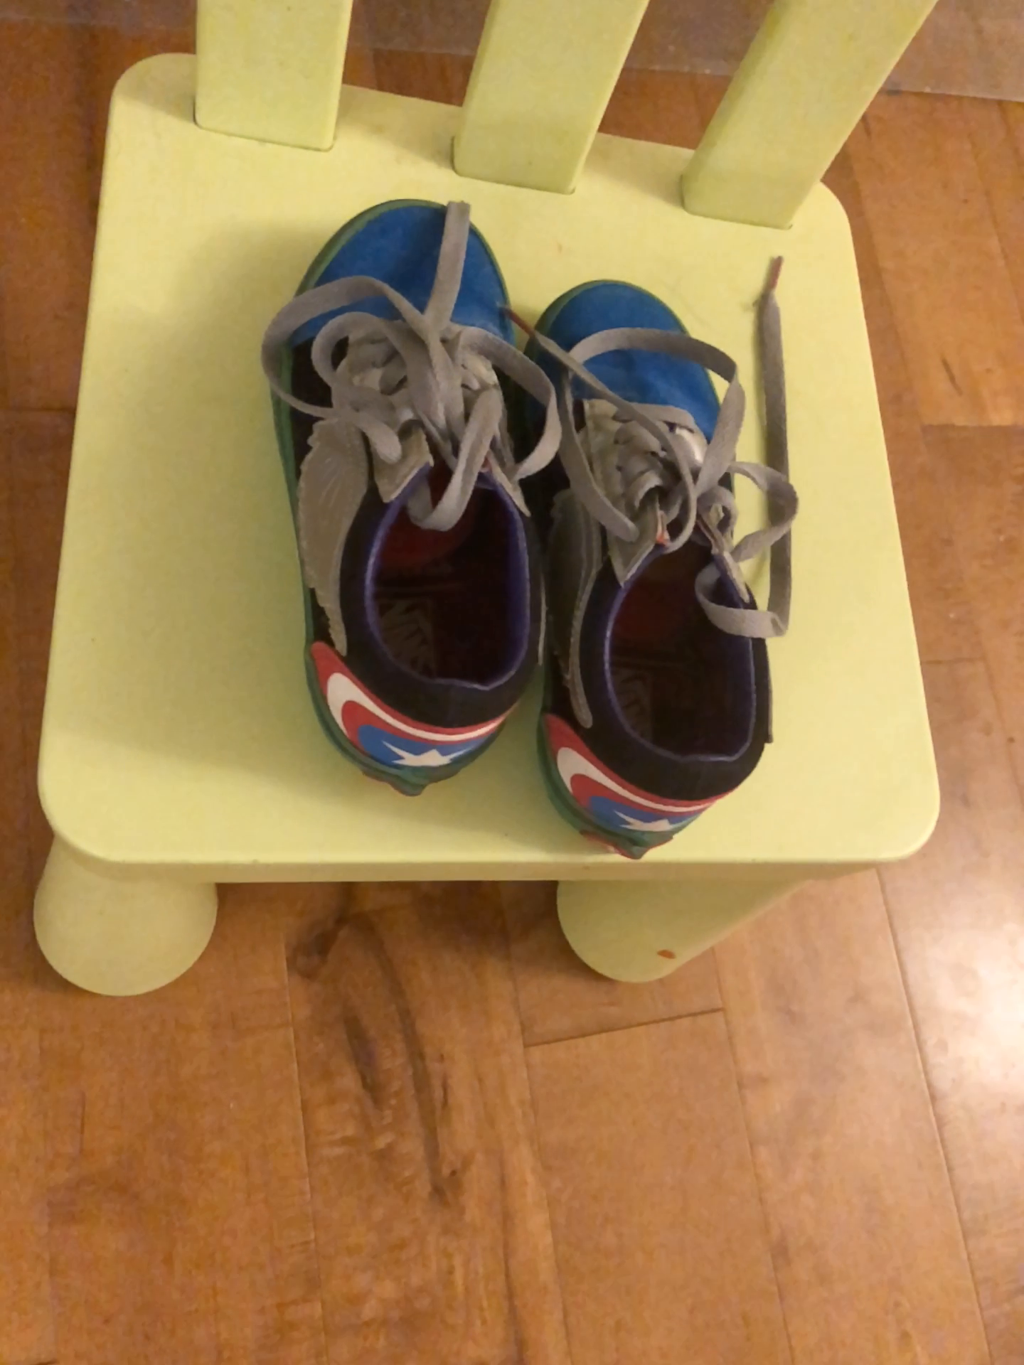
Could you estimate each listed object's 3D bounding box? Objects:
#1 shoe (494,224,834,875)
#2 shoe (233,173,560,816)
[{"bbox_3d":[0.042,-0.039,0.364,0.080,0.070,0.190,4,72,-14],"label":"shoe"},{"bbox_3d":[-0.040,-0.058,0.381,0.090,0.080,0.190,4,72,-14],"label":"shoe"}]
